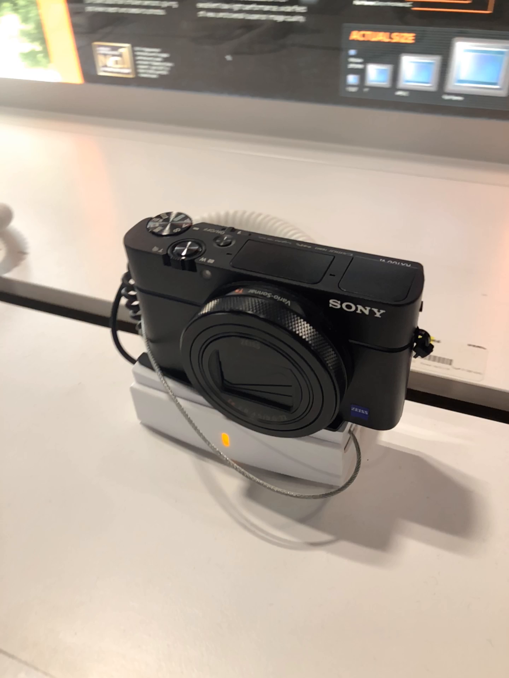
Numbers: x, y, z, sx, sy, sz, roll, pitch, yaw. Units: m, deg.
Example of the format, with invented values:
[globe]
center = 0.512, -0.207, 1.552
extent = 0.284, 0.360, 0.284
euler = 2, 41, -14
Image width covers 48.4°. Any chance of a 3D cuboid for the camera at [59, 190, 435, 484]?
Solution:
[camera]
center = -0.002, -0.003, 0.198
extent = 0.110, 0.070, 0.040
euler = 14, 43, 19
